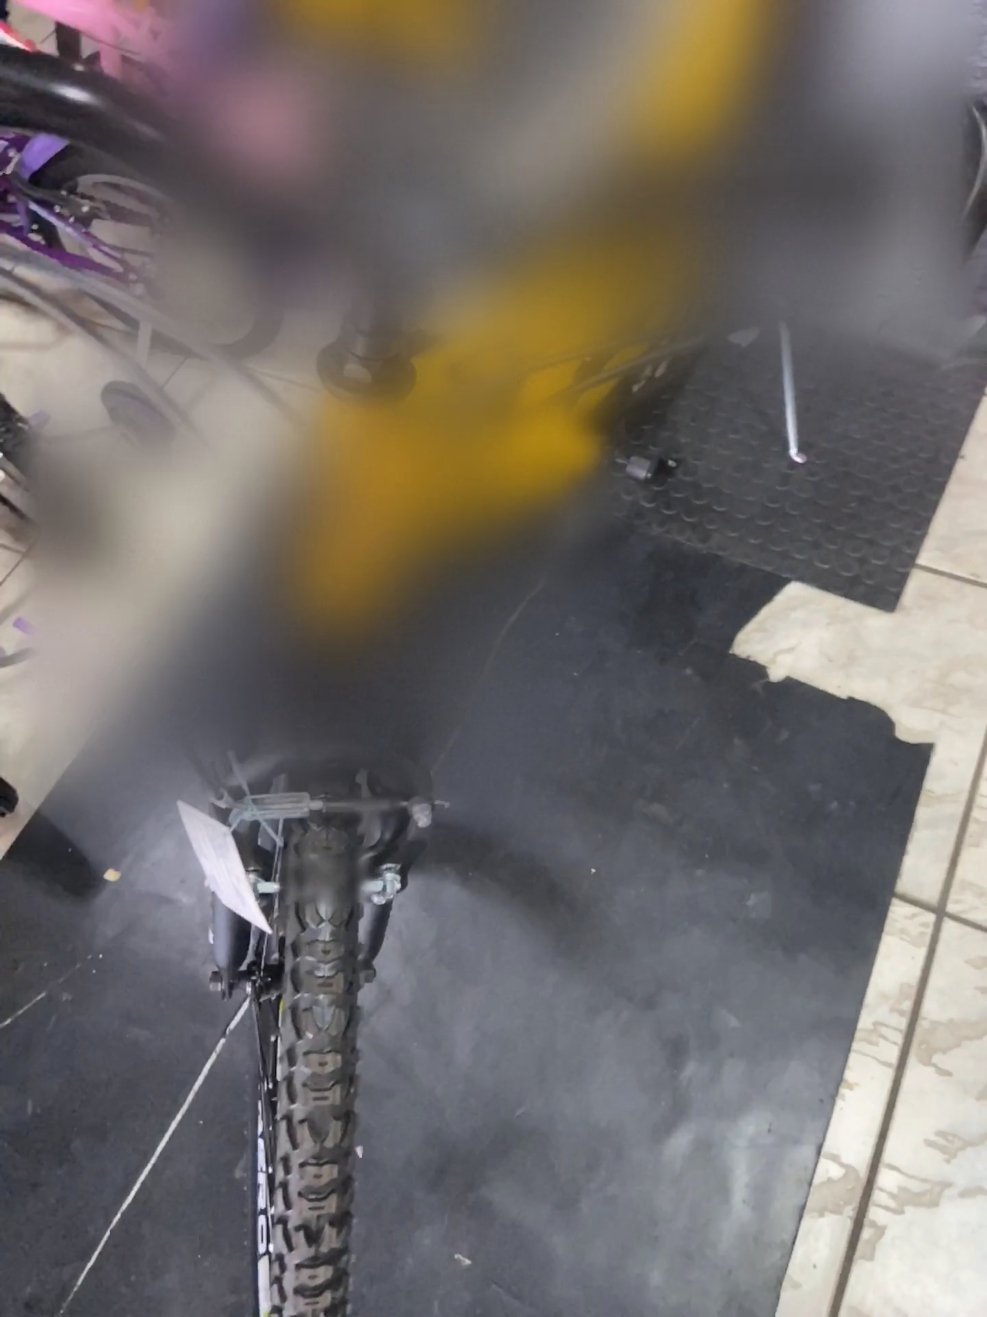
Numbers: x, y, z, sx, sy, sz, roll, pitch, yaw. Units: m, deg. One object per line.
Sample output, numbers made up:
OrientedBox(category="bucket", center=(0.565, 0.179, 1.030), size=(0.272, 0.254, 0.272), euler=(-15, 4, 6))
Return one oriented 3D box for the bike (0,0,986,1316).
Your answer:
OrientedBox(category="bike", center=(0.082, -0.270, 0.769), size=(0.475, 0.988, 1.526), euler=(14, 60, 15))
